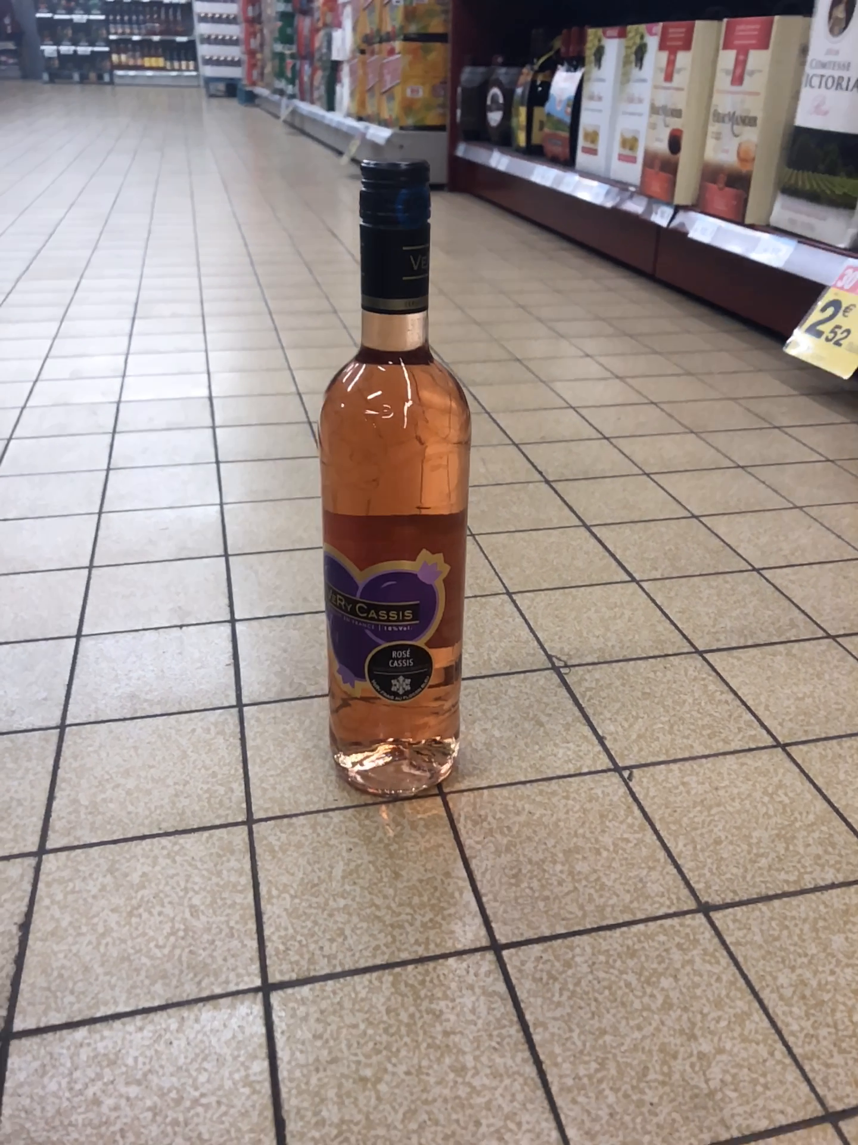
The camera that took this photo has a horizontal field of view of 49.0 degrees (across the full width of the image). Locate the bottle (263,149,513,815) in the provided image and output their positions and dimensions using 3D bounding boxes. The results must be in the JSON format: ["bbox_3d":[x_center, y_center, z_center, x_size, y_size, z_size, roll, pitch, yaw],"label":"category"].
[{"bbox_3d":[-0.017,-0.035,0.449,0.080,0.298,0.081,1,27,-1],"label":"bottle"}]
